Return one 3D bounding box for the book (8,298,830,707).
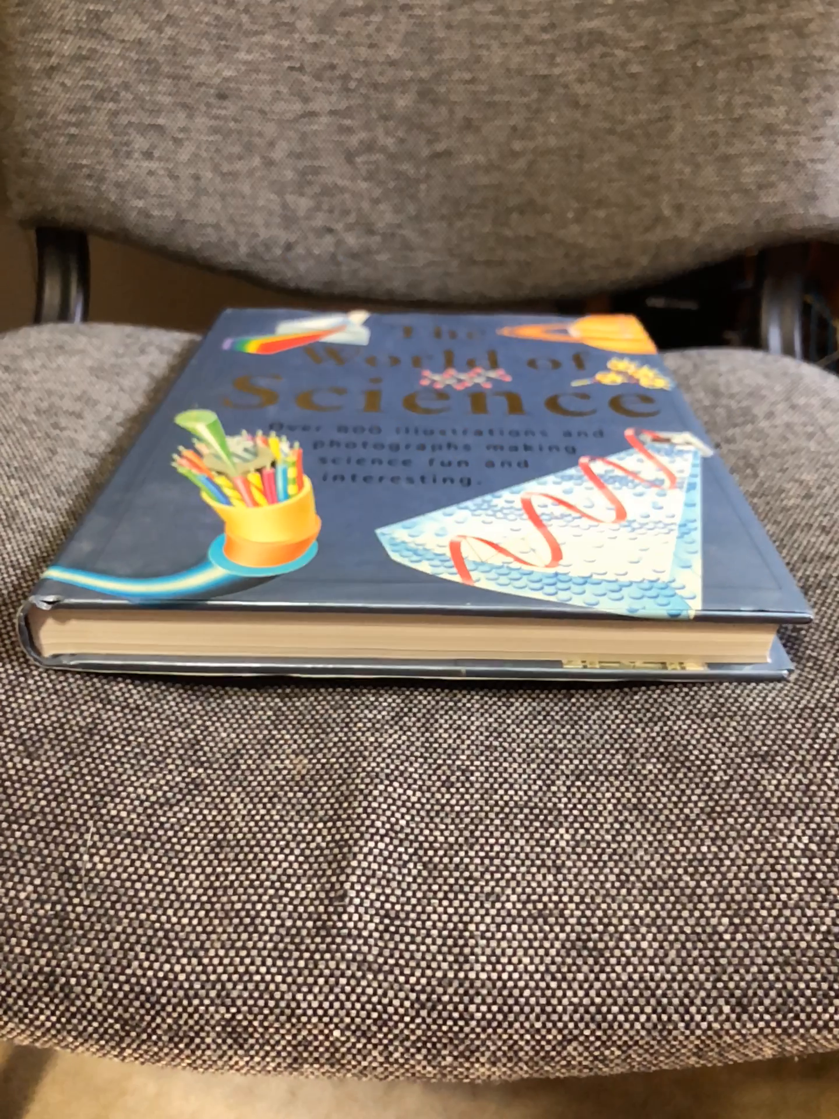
[{"bbox_3d":[-0.001,-0.046,0.376,0.220,0.030,0.277,1,32,-1],"label":"book"}]
